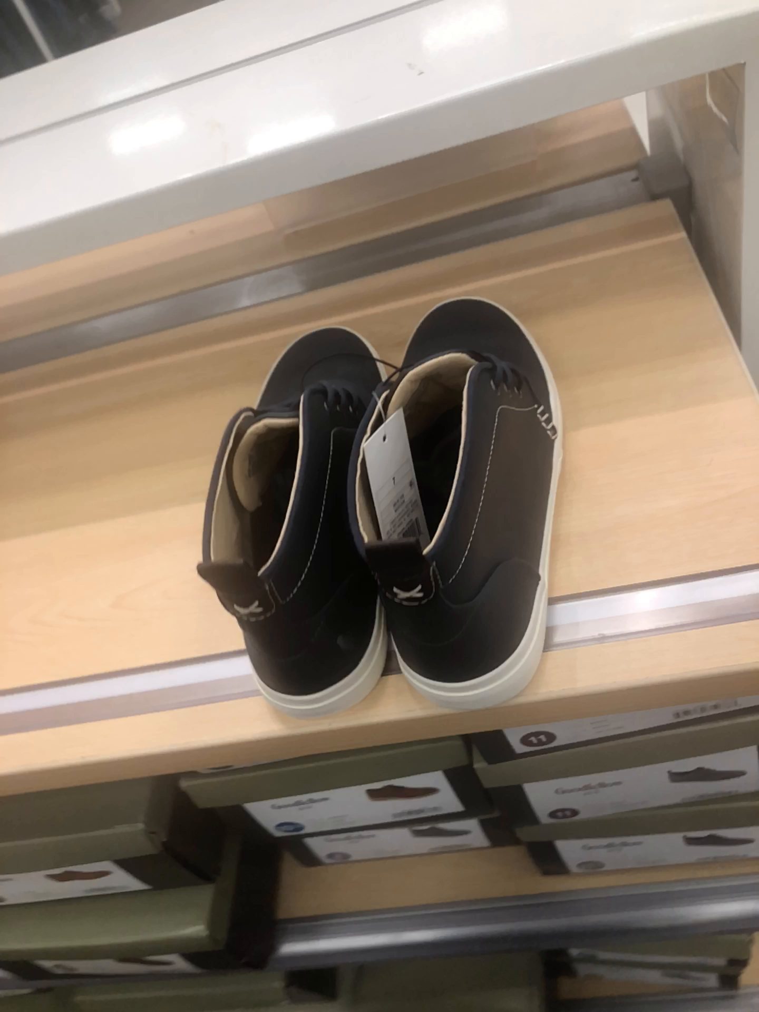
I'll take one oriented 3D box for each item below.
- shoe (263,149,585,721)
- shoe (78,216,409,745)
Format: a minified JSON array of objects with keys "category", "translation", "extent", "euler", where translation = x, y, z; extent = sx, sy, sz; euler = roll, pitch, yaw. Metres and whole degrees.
[{"category":"shoe","translation":[0.029,-0.046,0.436],"extent":[0.106,0.125,0.268],"euler":[-9,49,14]},{"category":"shoe","translation":[-0.060,-0.024,0.458],"extent":[0.109,0.114,0.259],"euler":[-13,48,11]}]
